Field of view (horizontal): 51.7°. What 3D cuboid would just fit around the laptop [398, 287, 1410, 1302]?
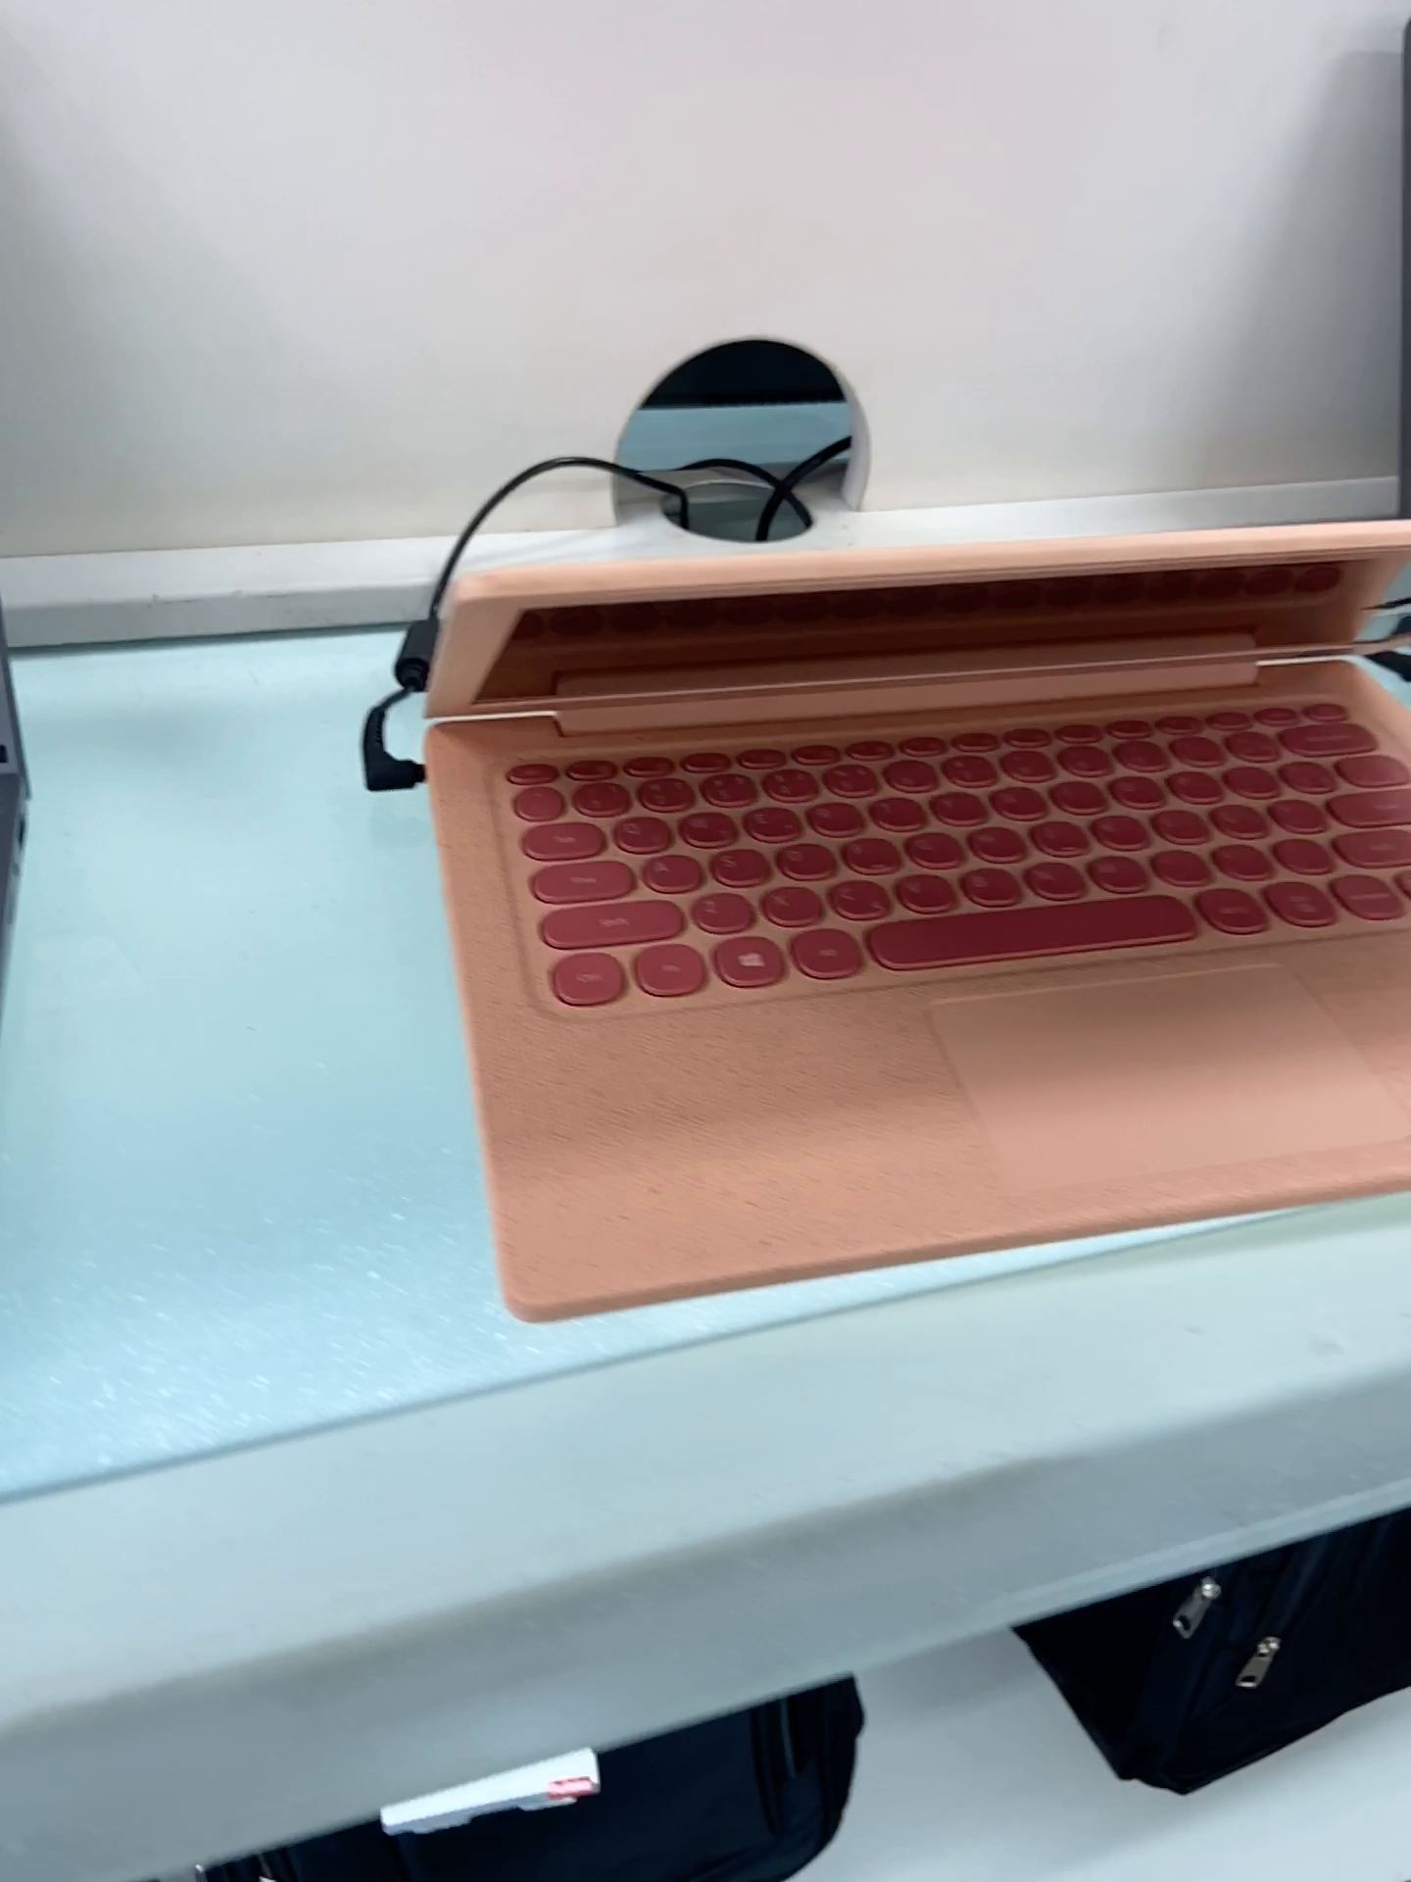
[{"bbox_3d":[0.100,-0.062,0.359,0.323,0.129,0.212,-6,40,-12],"label":"laptop"}]
